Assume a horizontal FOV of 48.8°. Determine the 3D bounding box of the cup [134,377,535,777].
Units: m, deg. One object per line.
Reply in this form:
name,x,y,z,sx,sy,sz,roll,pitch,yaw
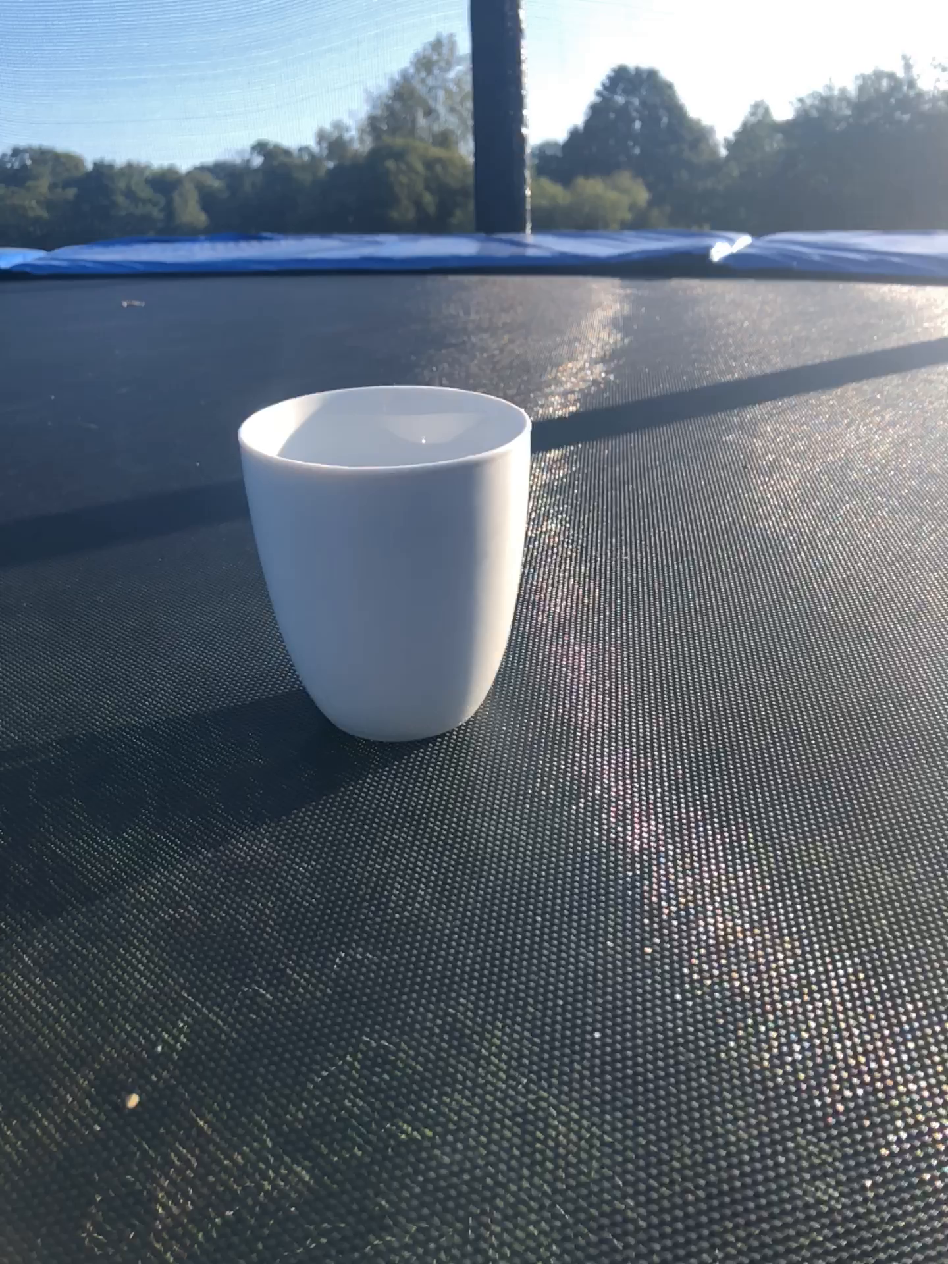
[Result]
cup,-0.037,-0.025,0.348,0.100,0.089,0.111,5,26,6
